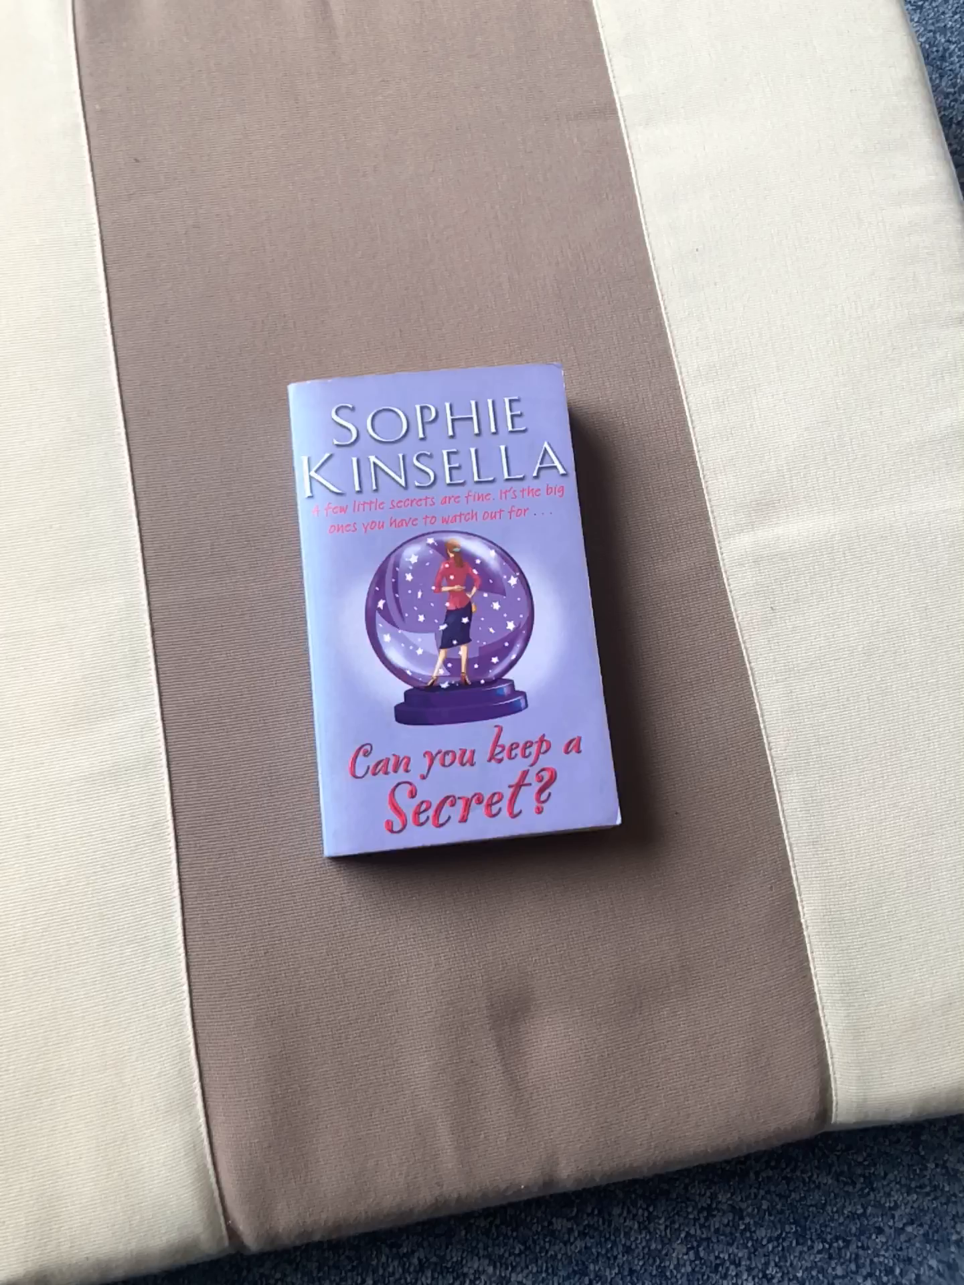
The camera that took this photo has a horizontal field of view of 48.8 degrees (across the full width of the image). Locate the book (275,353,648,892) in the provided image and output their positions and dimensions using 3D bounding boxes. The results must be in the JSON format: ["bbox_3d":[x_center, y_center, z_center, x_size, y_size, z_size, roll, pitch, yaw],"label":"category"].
[{"bbox_3d":[-0.011,-0.009,0.382,0.110,0.040,0.180,-5,79,-6],"label":"book"}]
